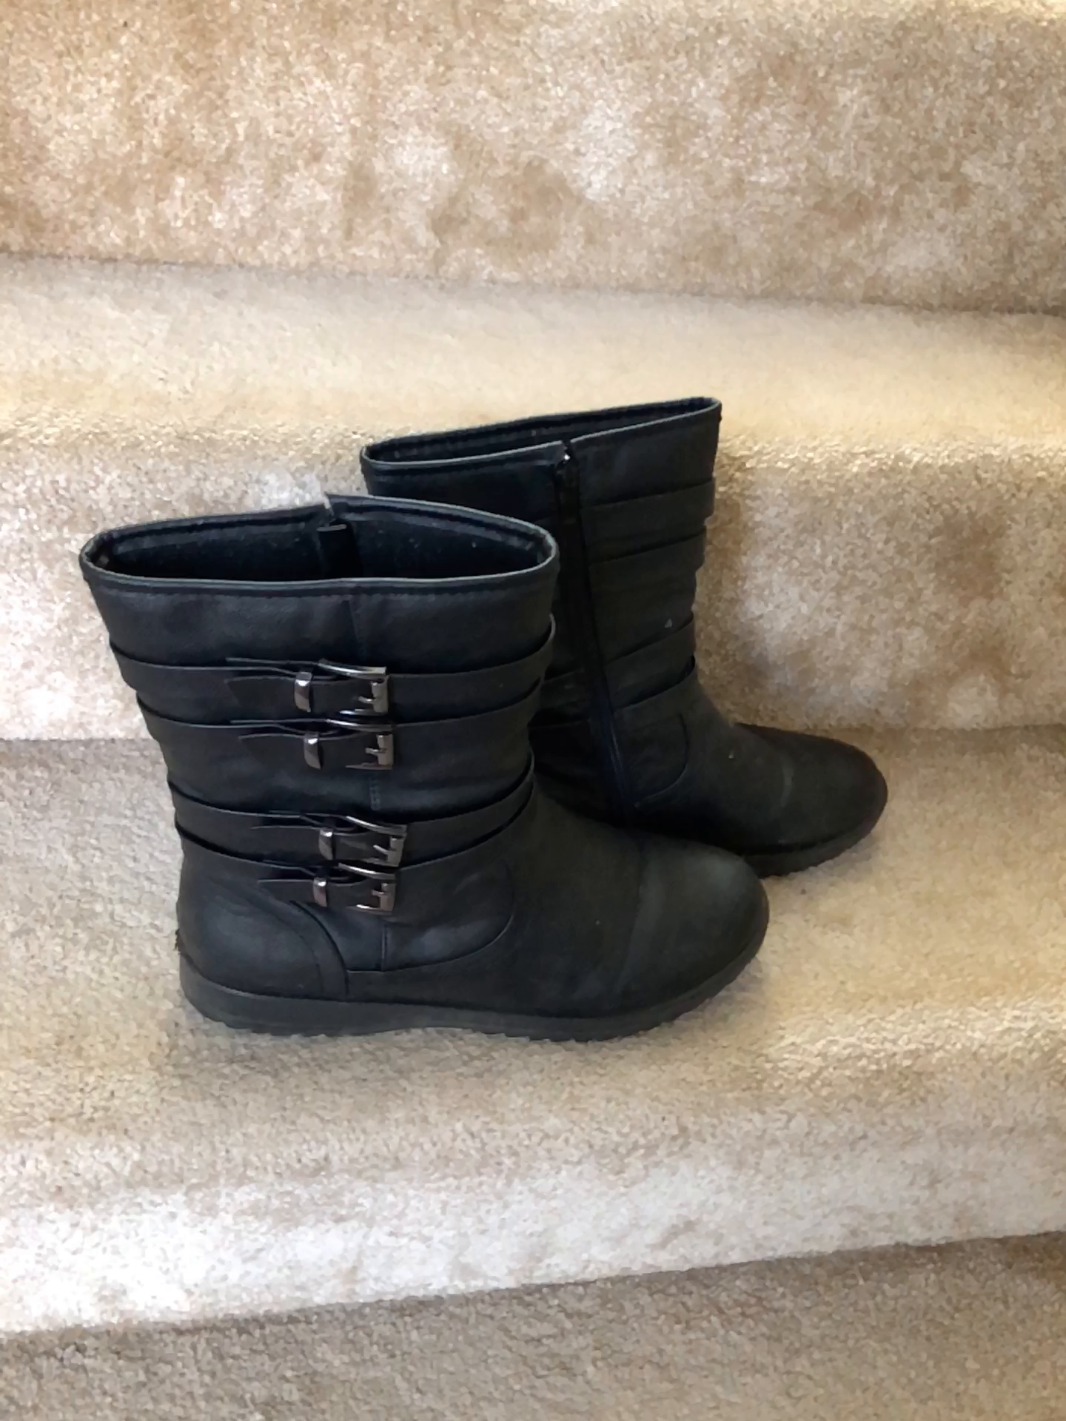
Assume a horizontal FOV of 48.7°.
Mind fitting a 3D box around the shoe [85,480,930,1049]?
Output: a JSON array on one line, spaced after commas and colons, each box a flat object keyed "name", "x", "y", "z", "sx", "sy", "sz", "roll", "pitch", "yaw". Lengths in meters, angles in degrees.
[{"name": "shoe", "x": -0.016, "y": 0.030, "z": 0.472, "sx": 0.270, "sy": 0.199, "sz": 0.101, "roll": 2, "pitch": 36, "yaw": -7}]

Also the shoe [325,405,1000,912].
[{"name": "shoe", "x": 0.049, "y": -0.022, "z": 0.571, "sx": 0.270, "sy": 0.218, "sz": 0.101, "roll": -2, "pitch": 36, "yaw": -4}]
